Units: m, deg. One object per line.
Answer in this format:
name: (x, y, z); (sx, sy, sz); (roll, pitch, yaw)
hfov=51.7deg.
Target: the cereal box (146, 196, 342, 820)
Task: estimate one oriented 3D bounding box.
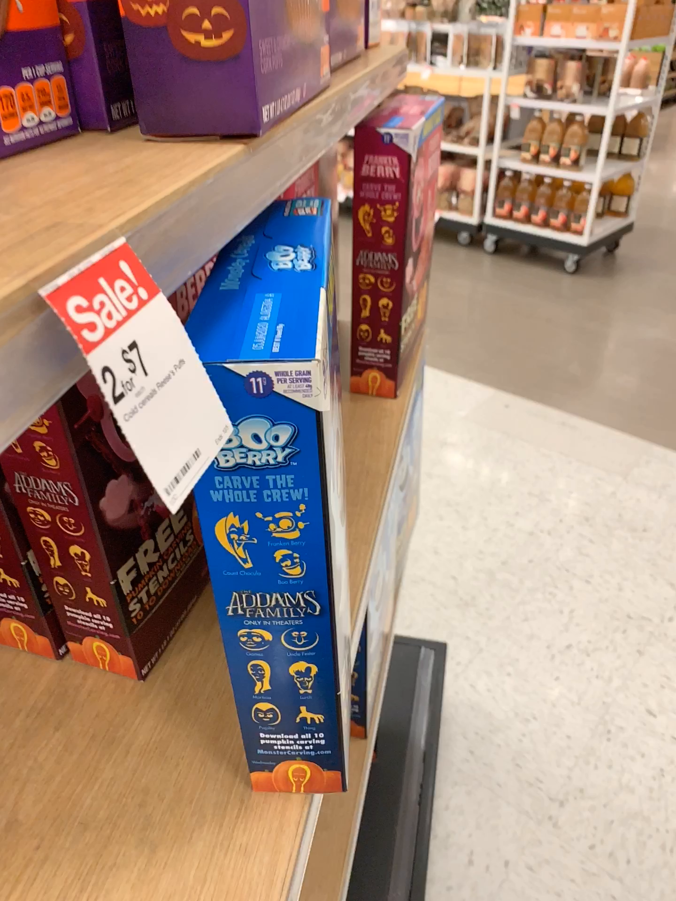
cereal box: (-0.036, 0.030, 0.442); (0.060, 0.308, 0.241); (-3, 34, 1)
